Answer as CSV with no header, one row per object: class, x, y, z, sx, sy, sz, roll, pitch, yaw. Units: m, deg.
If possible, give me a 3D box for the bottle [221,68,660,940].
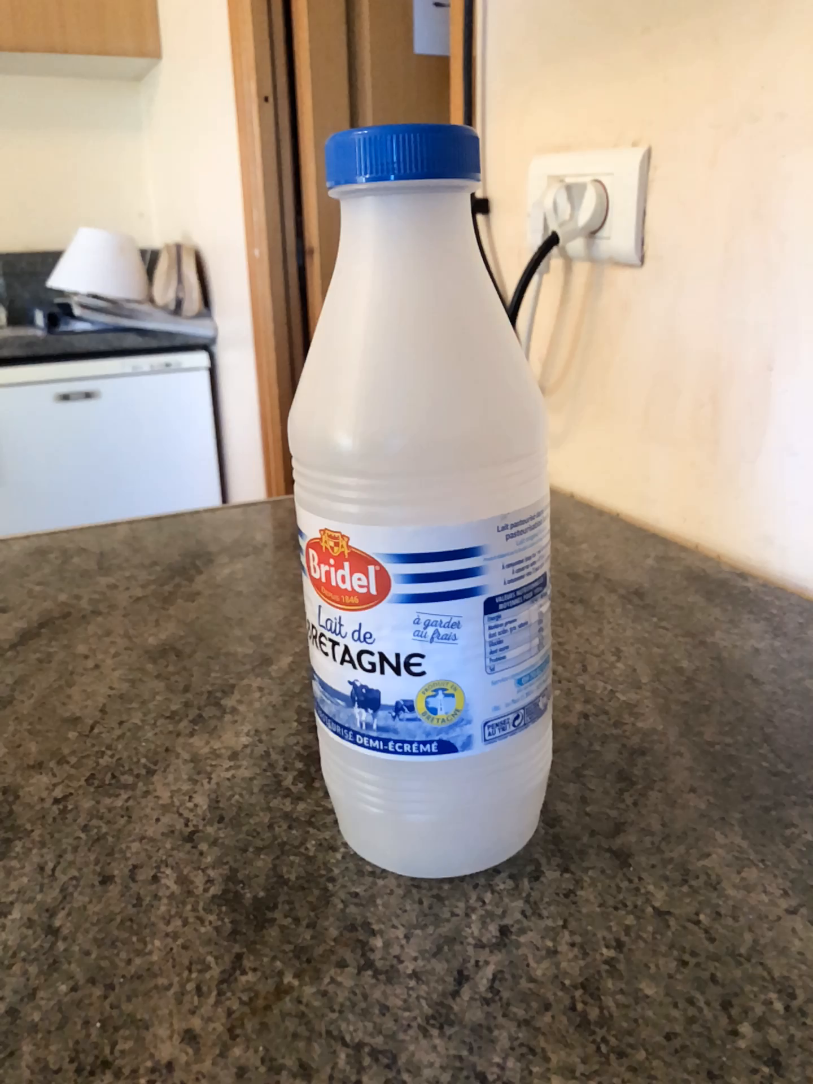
bottle,0.013,-0.013,0.298,0.090,0.239,0.090,-1,18,0
